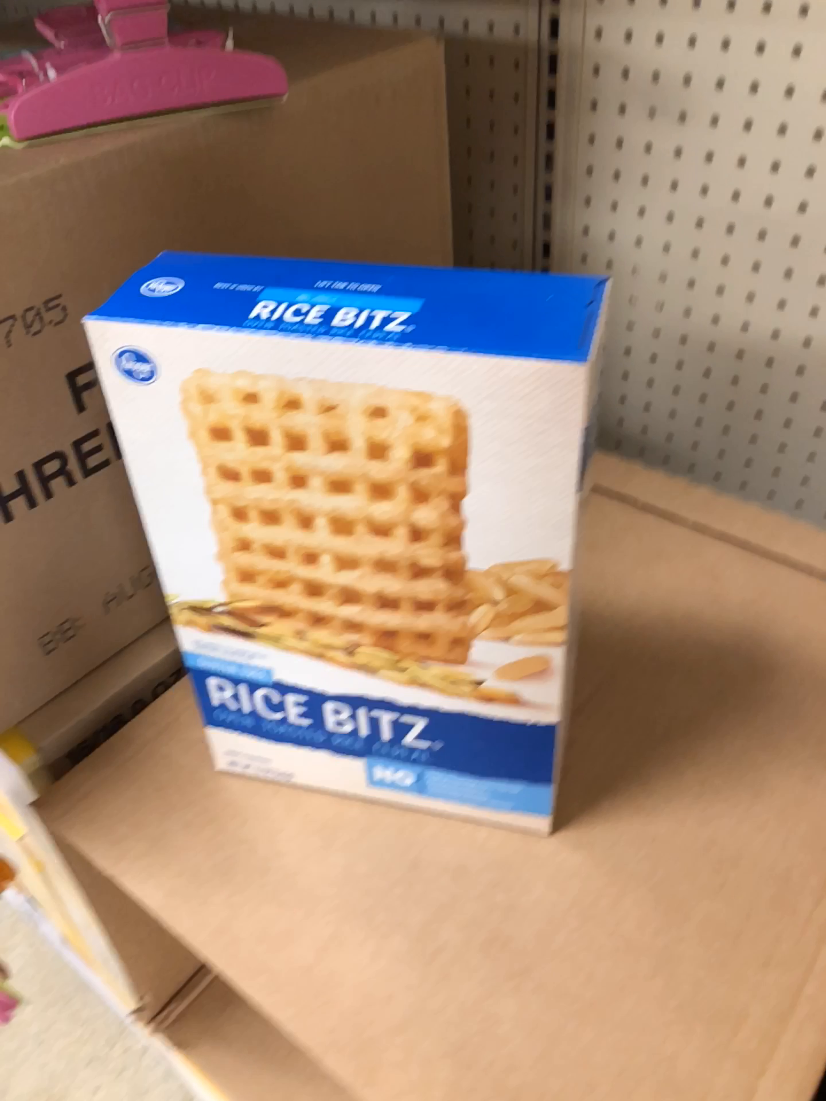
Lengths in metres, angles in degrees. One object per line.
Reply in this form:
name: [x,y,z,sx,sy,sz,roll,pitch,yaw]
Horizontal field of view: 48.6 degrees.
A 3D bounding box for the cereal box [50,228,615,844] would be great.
cereal box: [-0.021,0.007,0.433,0.200,0.289,0.070,7,41,14]
